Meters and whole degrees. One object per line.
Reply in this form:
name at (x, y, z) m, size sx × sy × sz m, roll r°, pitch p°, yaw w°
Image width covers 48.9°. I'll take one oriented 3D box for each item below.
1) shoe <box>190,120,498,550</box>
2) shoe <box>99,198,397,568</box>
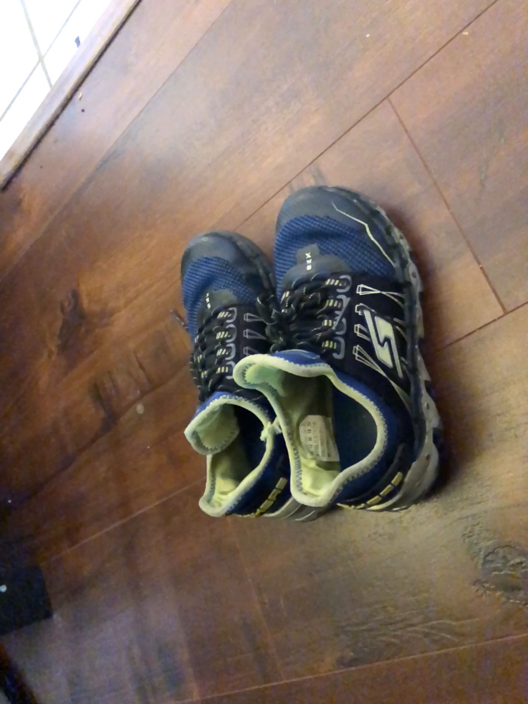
shoe at (0.049, -0.003, 0.354) m, size 0.100 × 0.119 × 0.210 m, roll -16°, pitch 80°, yaw 39°
shoe at (-0.014, 0.020, 0.410) m, size 0.100 × 0.119 × 0.210 m, roll -29°, pitch 72°, yaw 36°
